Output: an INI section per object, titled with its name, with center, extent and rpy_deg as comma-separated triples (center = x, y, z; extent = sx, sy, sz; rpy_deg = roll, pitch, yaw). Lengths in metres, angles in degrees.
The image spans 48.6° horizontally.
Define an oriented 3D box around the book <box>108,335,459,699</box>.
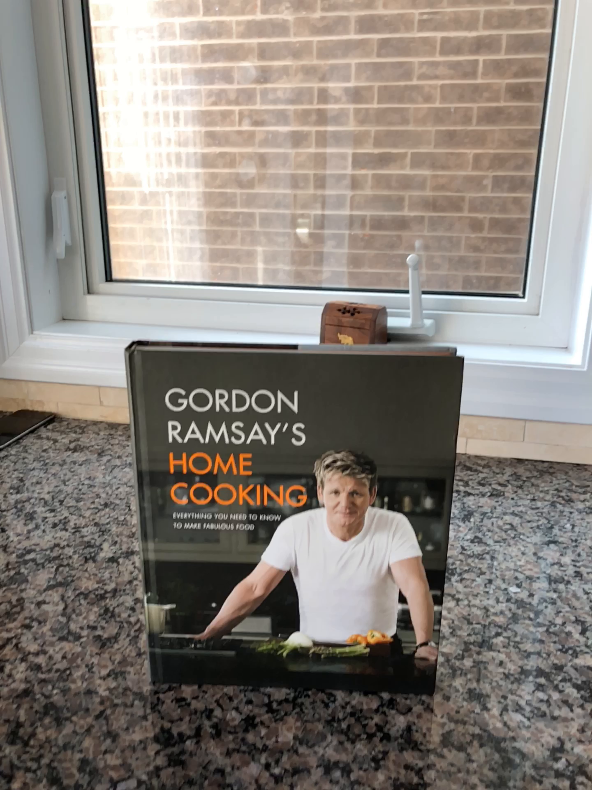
[book]
center = -0.009, 0.091, 0.458
extent = 0.217, 0.261, 0.028
rpy_deg = 1, 18, 2
